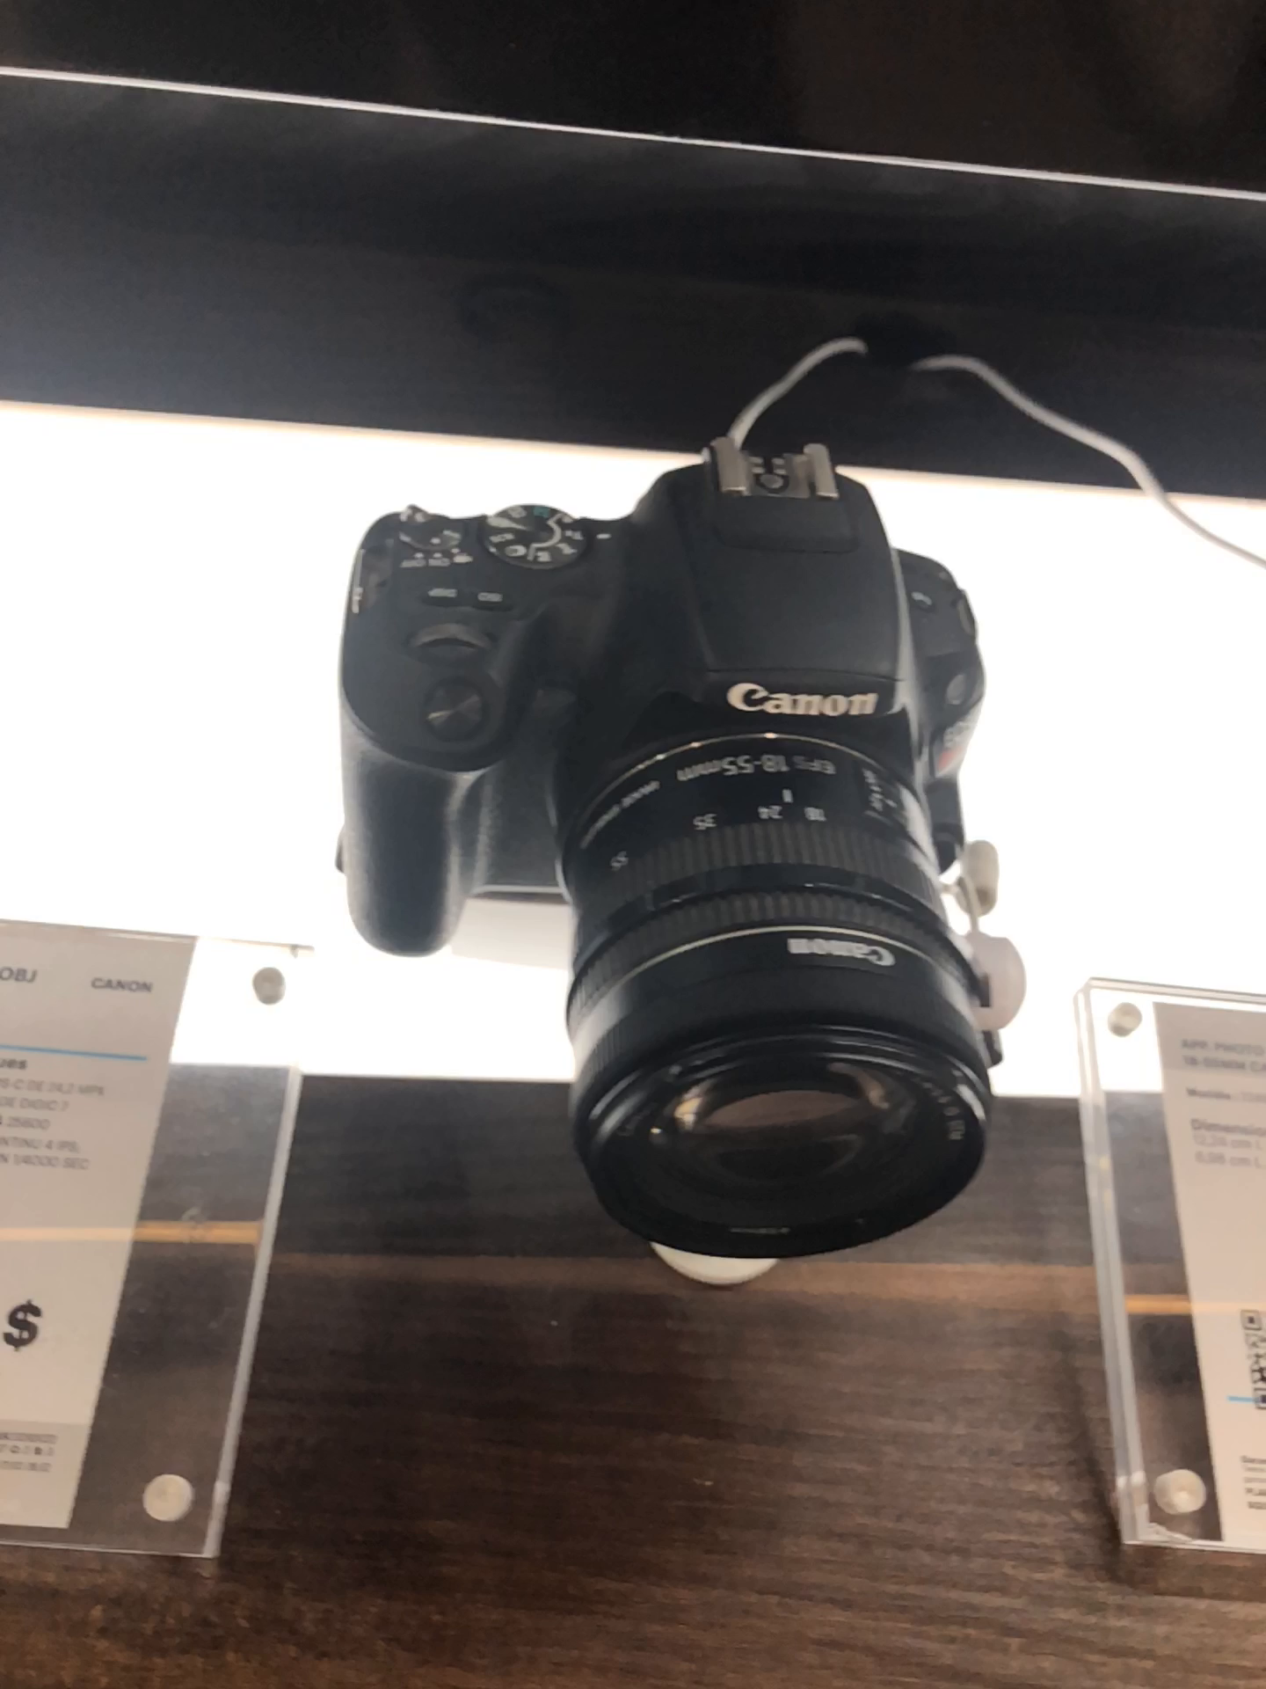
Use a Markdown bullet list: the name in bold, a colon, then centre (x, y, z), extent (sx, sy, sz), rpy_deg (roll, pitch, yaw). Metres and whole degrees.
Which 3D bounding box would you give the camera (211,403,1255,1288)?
- **camera**: centre (0.008, -0.002, 0.237), extent (0.124, 0.082, 0.119), rpy_deg (3, 46, -6)
